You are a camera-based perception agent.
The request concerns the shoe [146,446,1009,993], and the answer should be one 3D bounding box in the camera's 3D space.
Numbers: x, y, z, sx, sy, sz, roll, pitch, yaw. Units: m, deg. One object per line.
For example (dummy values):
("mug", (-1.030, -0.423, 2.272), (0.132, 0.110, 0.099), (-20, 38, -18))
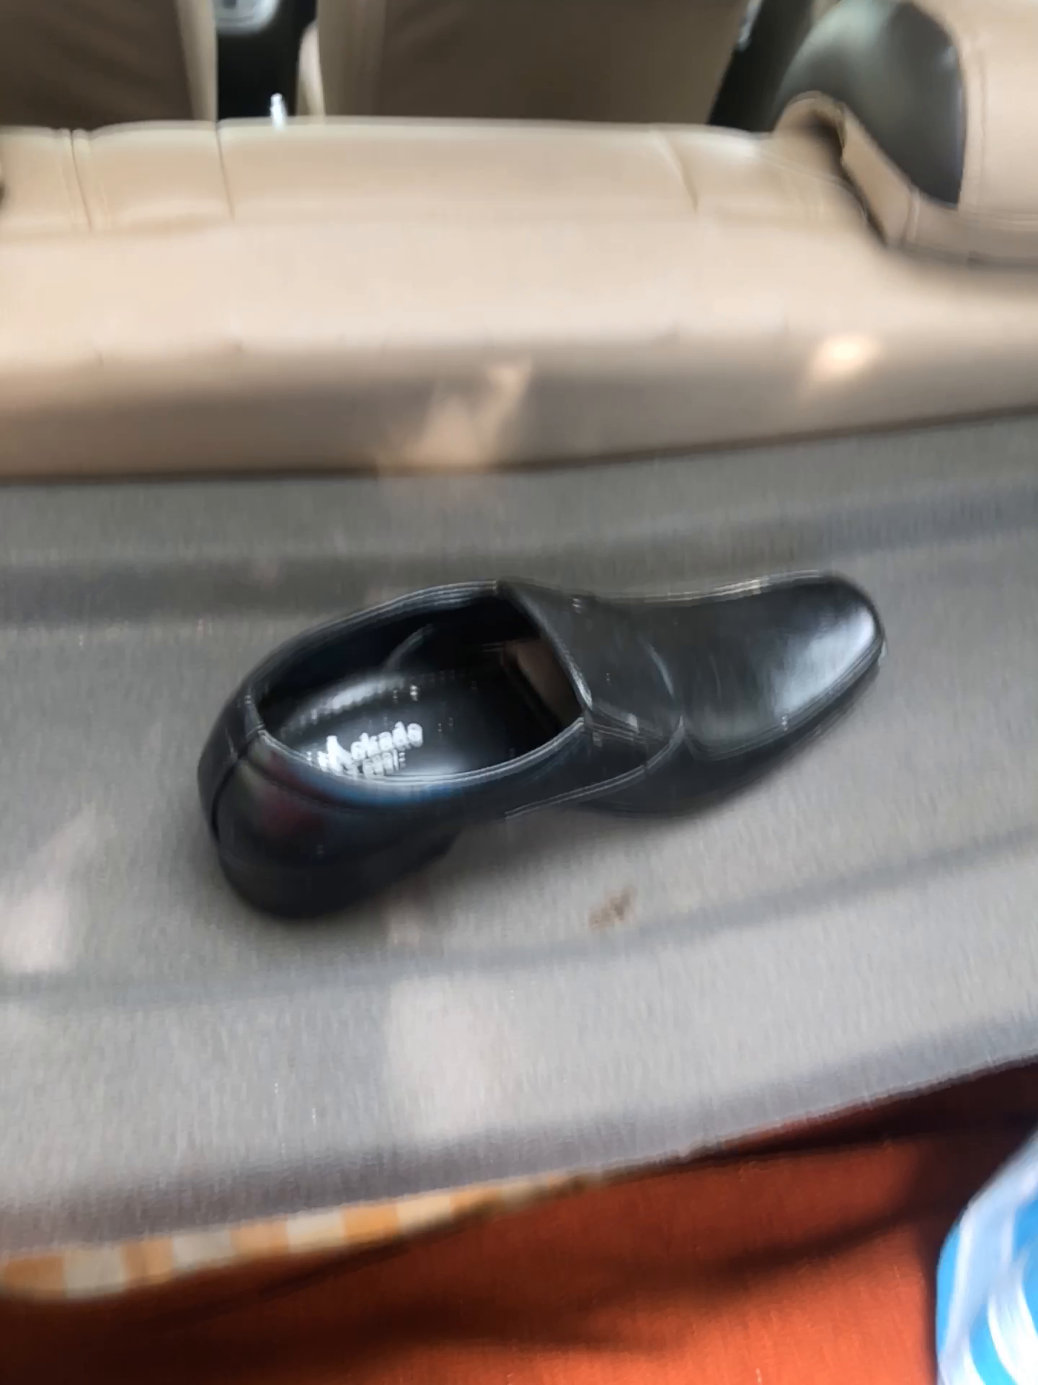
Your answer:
("shoe", (0.027, -0.003, 0.441), (0.301, 0.080, 0.100), (-18, 54, -22))
